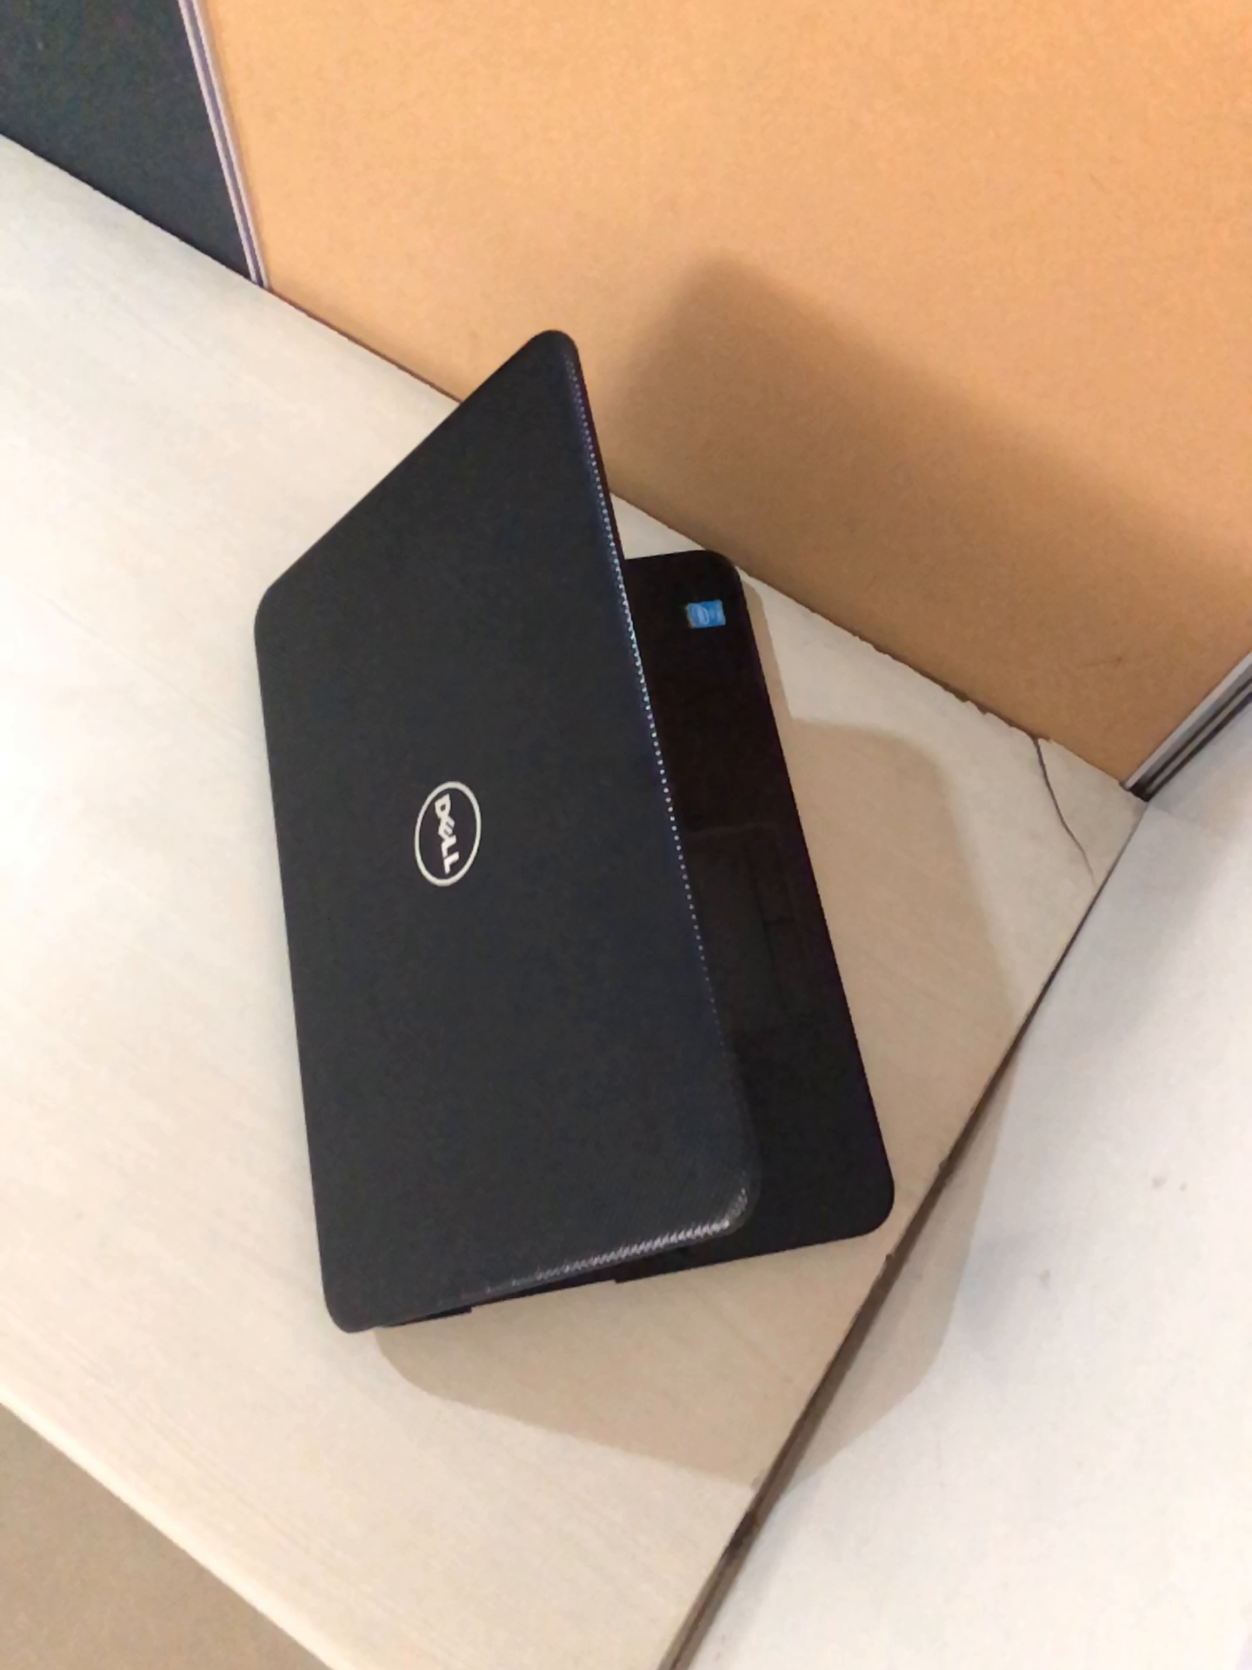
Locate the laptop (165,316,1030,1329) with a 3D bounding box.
[{"bbox_3d":[-0.027,-0.002,0.583,0.254,0.180,0.352,-9,71,-8],"label":"laptop"}]
